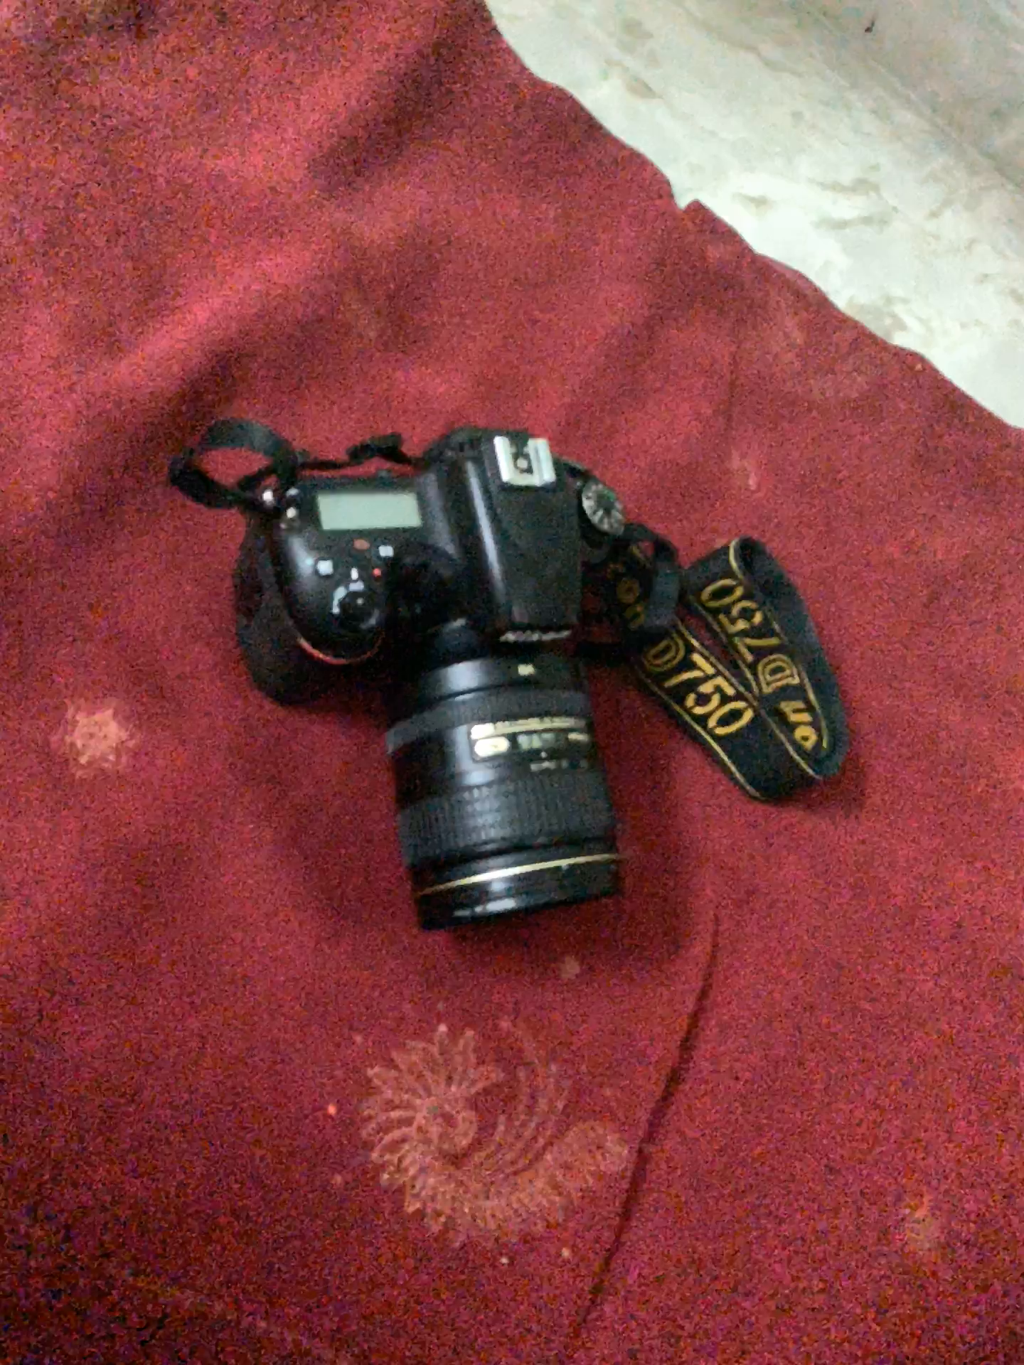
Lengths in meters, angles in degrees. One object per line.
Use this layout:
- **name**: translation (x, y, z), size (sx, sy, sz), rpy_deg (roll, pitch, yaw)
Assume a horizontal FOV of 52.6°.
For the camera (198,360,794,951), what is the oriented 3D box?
- **camera**: translation (-0.016, -0.006, 0.360), size (0.150, 0.110, 0.160), rpy_deg (-5, 73, -25)
